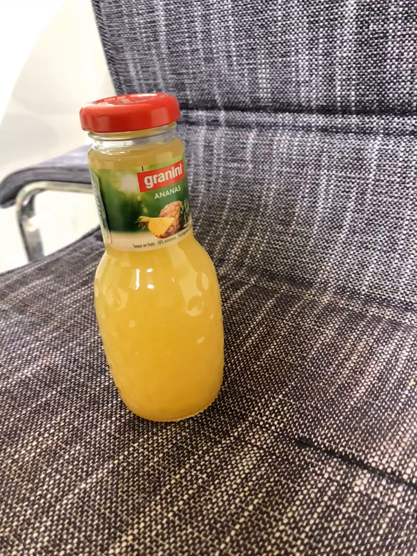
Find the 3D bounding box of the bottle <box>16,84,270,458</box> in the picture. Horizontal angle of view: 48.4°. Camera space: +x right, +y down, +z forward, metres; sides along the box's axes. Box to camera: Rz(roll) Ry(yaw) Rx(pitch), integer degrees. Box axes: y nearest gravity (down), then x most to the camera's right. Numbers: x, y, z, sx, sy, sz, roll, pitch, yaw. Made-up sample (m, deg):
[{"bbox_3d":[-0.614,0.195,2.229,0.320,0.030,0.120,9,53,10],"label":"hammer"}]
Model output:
[{"bbox_3d":[-0.023,-0.007,0.221,0.070,0.149,0.070,-5,27,2],"label":"bottle"}]
